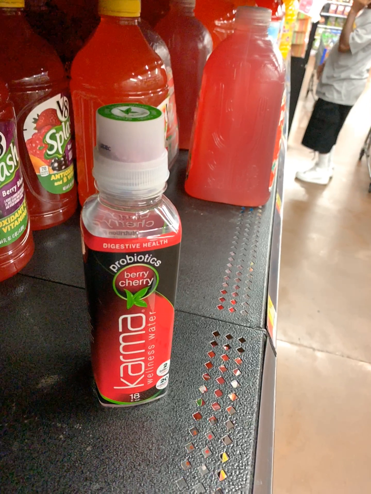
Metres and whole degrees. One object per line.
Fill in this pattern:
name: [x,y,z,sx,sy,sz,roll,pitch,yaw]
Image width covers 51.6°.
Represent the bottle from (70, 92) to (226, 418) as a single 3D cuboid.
bottle: [-0.033,0.017,0.255,0.068,0.209,0.070,5,35,-3]
